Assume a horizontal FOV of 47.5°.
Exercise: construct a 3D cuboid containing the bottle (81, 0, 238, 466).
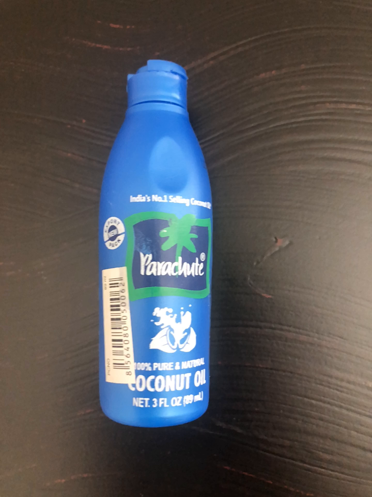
[{"bbox_3d":[-0.010,-0.010,0.144,0.040,0.040,0.140,2,86,-21],"label":"bottle"}]
